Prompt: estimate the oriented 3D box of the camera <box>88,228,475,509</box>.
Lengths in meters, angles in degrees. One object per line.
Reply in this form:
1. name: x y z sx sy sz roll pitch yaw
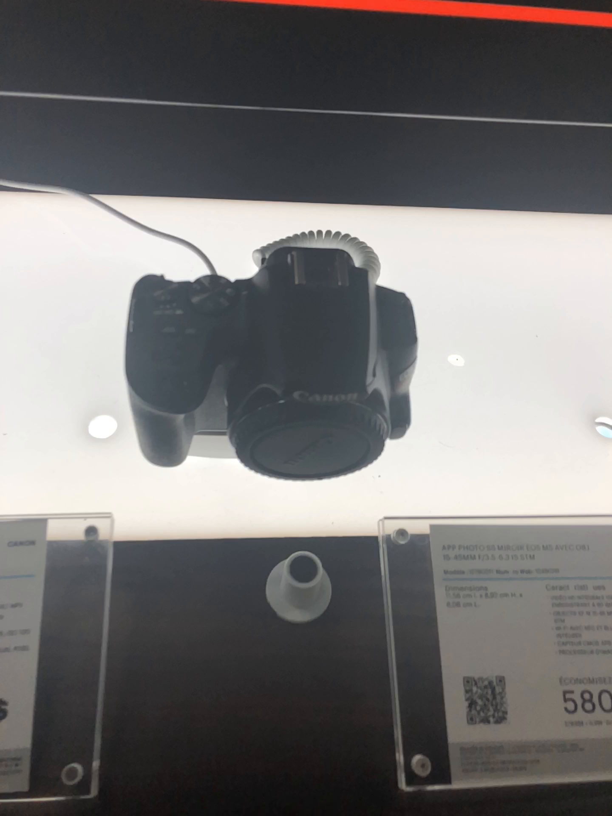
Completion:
1. camera: -0.012 -0.014 0.265 0.123 0.071 0.081 0 54 -7
